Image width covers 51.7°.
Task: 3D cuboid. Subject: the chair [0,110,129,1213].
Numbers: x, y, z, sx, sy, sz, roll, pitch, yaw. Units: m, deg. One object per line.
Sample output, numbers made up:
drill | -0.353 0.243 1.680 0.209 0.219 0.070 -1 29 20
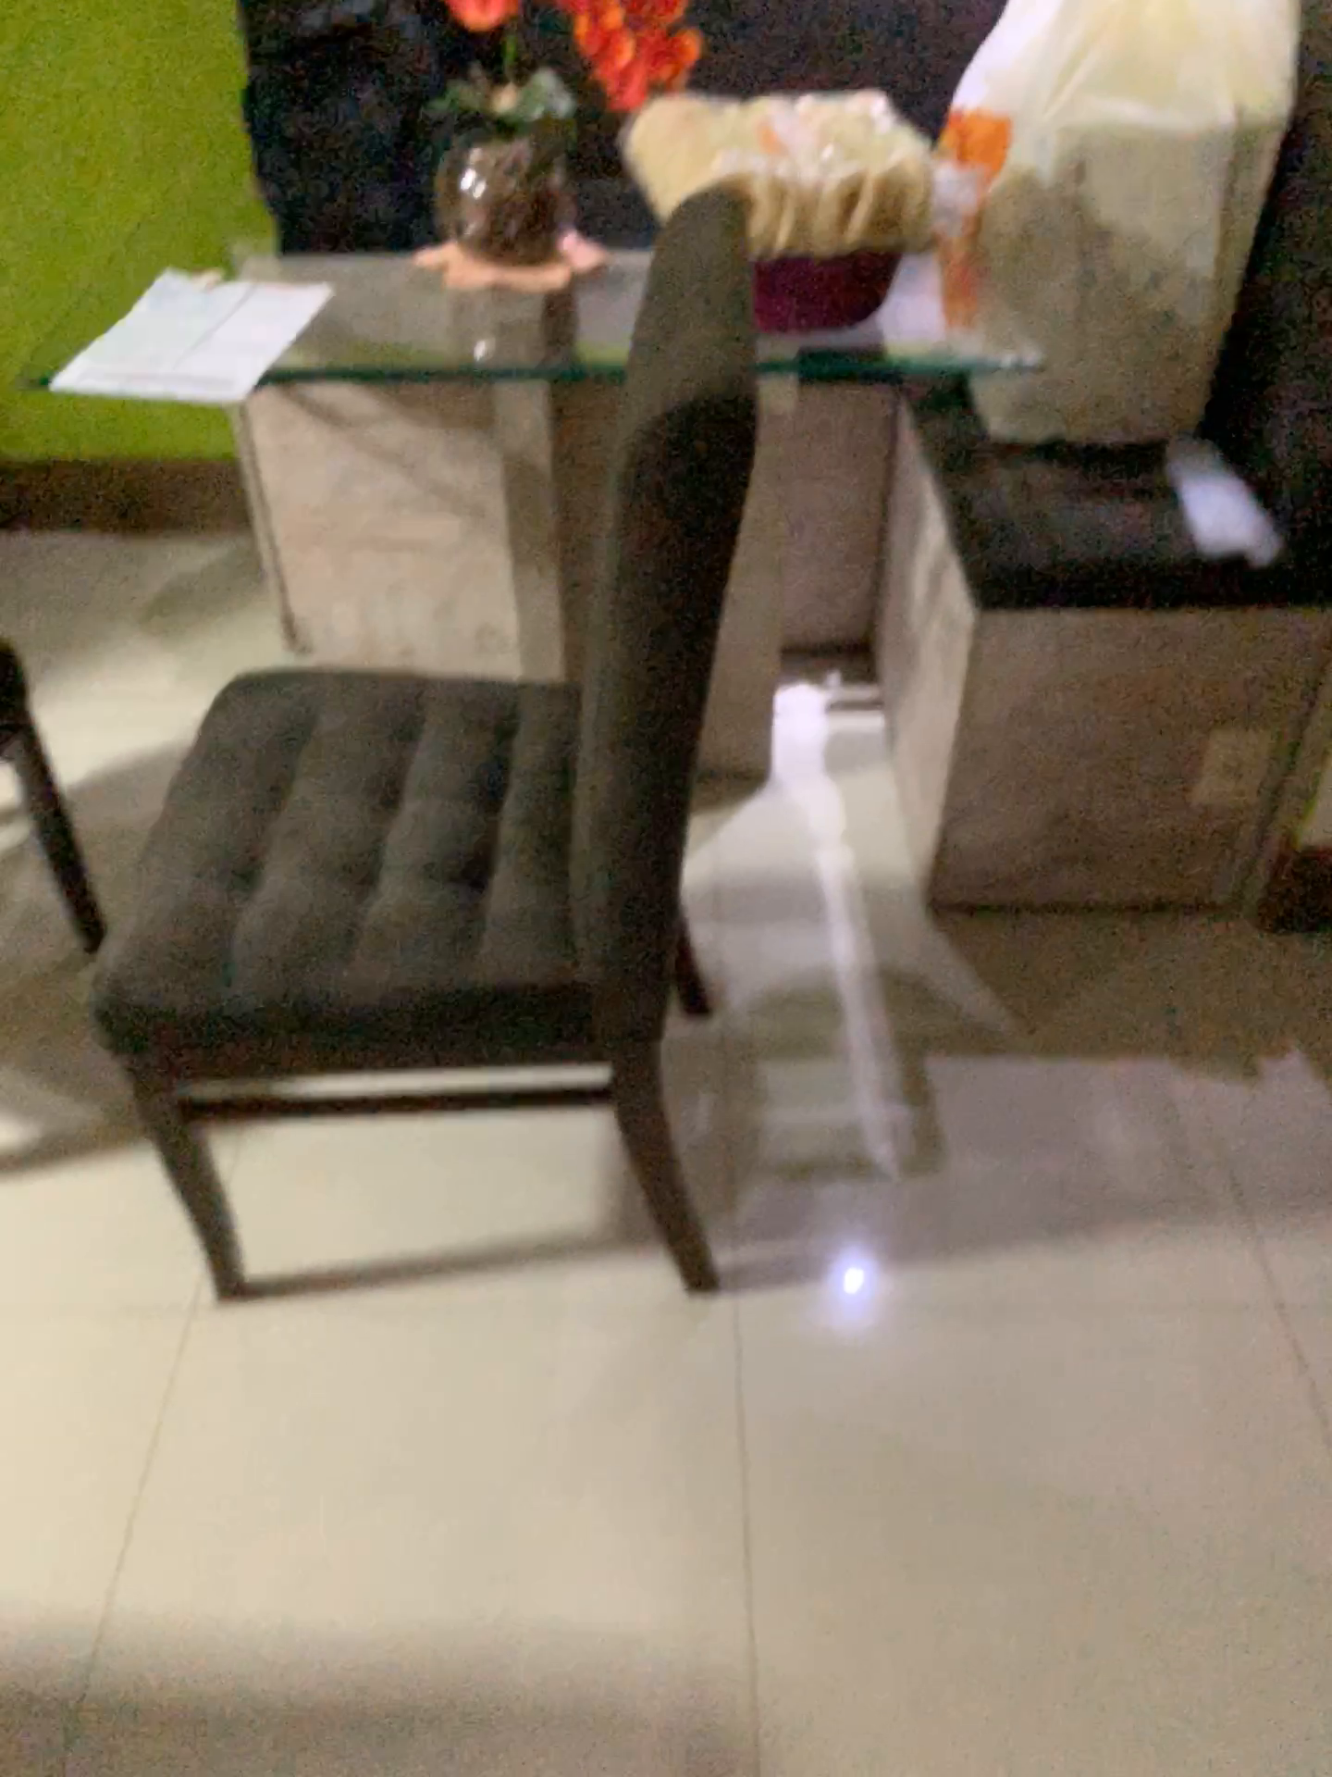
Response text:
chair | -1.106 -0.219 1.498 0.571 0.981 0.494 14 43 16

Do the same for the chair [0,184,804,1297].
chair | -0.196 -0.097 1.365 0.570 0.971 0.525 0 41 0
